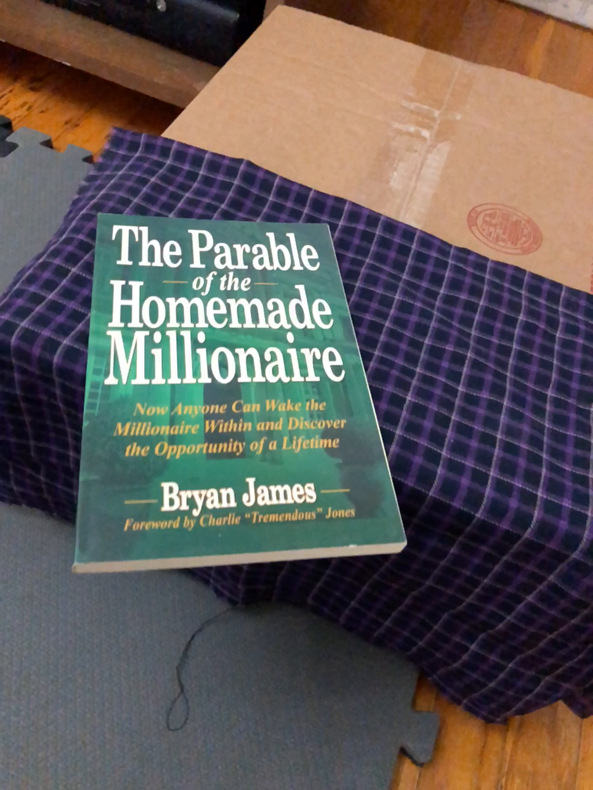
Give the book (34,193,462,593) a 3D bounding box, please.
[{"bbox_3d":[-0.028,-0.019,0.312,0.160,0.020,0.211,-1,54,-11],"label":"book"}]
